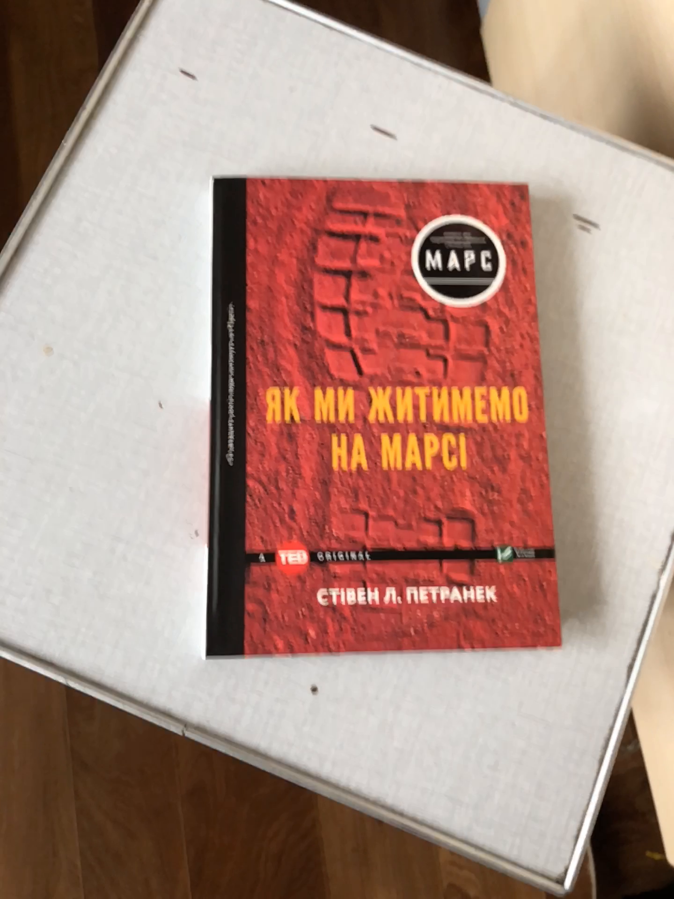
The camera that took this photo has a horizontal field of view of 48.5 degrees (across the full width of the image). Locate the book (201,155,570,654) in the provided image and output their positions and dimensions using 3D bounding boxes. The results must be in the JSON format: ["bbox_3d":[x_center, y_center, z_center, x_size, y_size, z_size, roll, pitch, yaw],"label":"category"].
[{"bbox_3d":[0.019,-0.024,0.322,0.146,0.015,0.214,0,79,-3],"label":"book"}]
